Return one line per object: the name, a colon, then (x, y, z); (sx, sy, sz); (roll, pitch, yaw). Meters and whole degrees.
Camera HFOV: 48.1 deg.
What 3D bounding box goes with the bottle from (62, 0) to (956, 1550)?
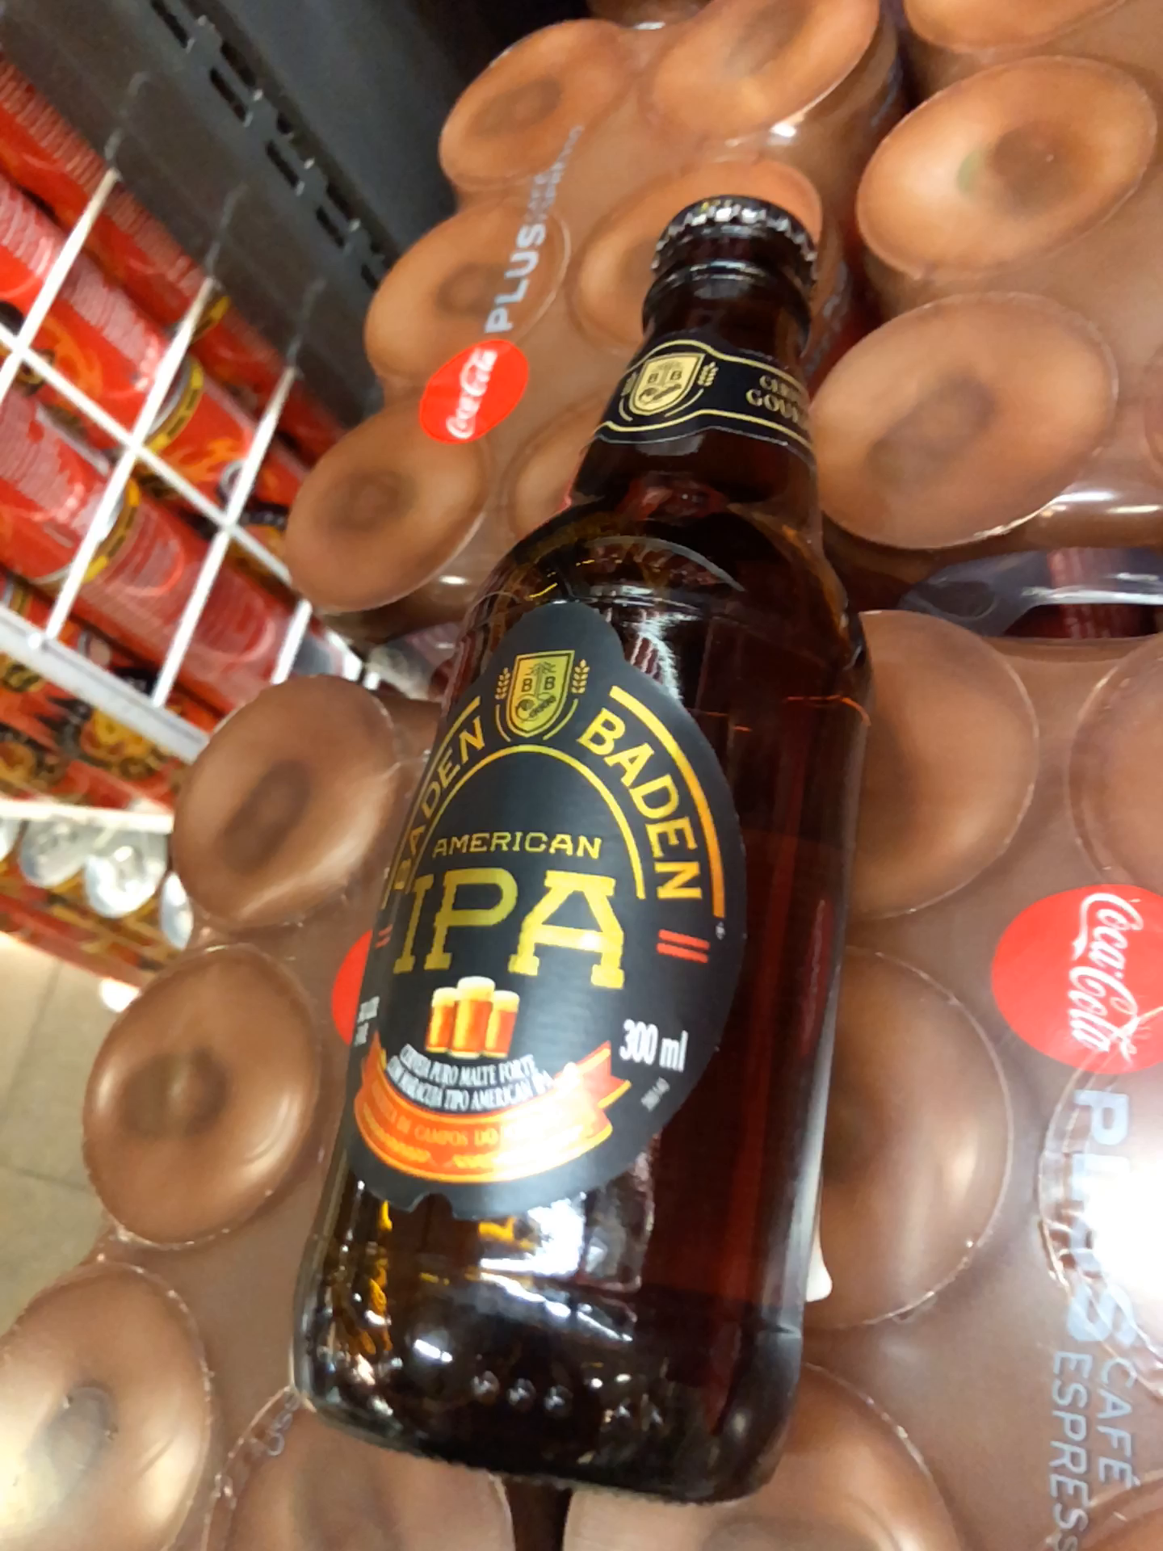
bottle: (0.005, -0.016, 0.183); (0.070, 0.050, 0.210); (-1, 65, 27)
